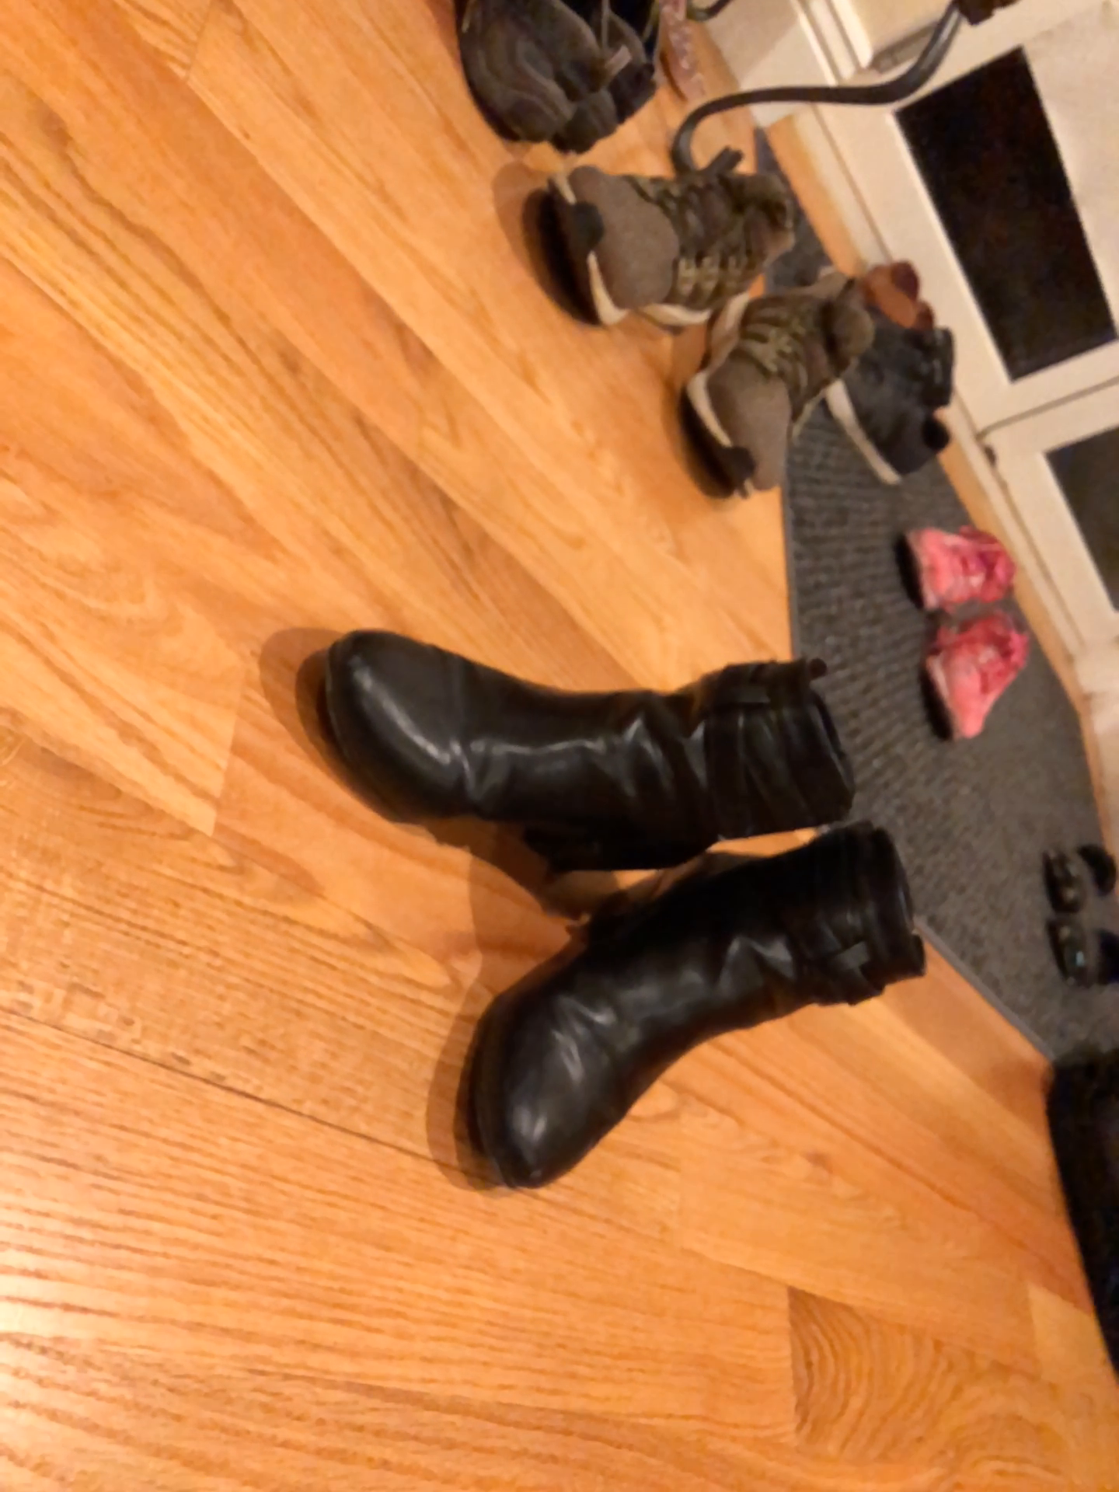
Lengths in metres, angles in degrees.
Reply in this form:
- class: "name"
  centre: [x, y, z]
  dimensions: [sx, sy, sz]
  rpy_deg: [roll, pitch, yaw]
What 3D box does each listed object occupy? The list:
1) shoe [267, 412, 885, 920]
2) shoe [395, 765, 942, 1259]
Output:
- class: "shoe"
  centre: [0.018, -0.016, 0.562]
  dimensions: [0.227, 0.172, 0.090]
  rpy_deg: [36, 45, -47]
- class: "shoe"
  centre: [0.065, 0.115, 0.579]
  dimensions: [0.090, 0.172, 0.227]
  rpy_deg: [65, 30, -12]
